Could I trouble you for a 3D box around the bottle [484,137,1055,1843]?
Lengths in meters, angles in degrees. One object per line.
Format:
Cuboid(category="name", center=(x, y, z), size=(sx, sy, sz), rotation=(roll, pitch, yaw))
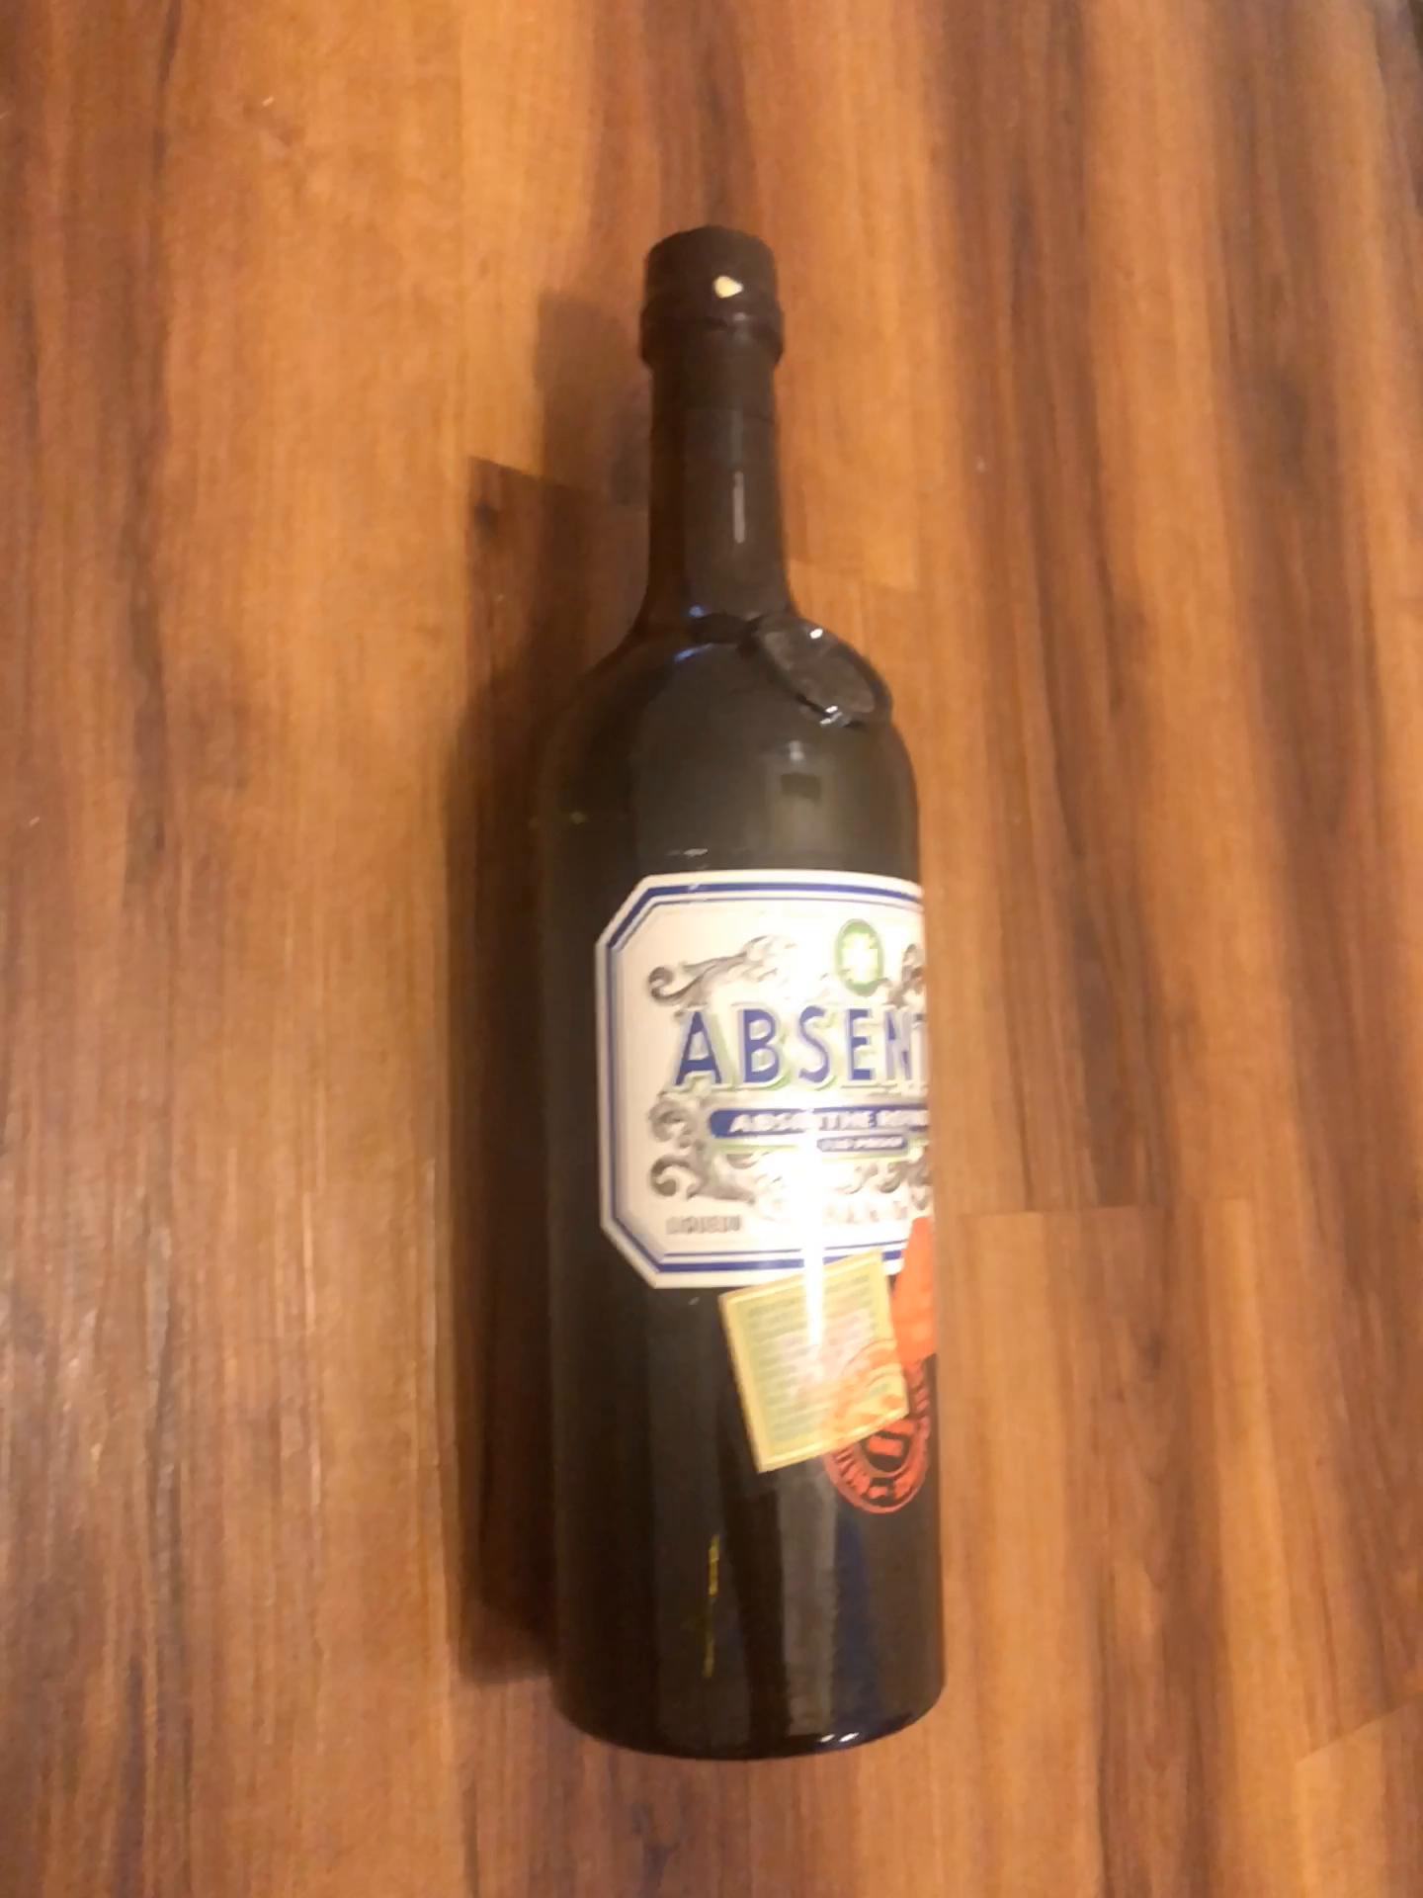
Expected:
Cuboid(category="bottle", center=(0.008, 0.003, 0.329), size=(0.081, 0.070, 0.300), rotation=(5, 79, -40))
